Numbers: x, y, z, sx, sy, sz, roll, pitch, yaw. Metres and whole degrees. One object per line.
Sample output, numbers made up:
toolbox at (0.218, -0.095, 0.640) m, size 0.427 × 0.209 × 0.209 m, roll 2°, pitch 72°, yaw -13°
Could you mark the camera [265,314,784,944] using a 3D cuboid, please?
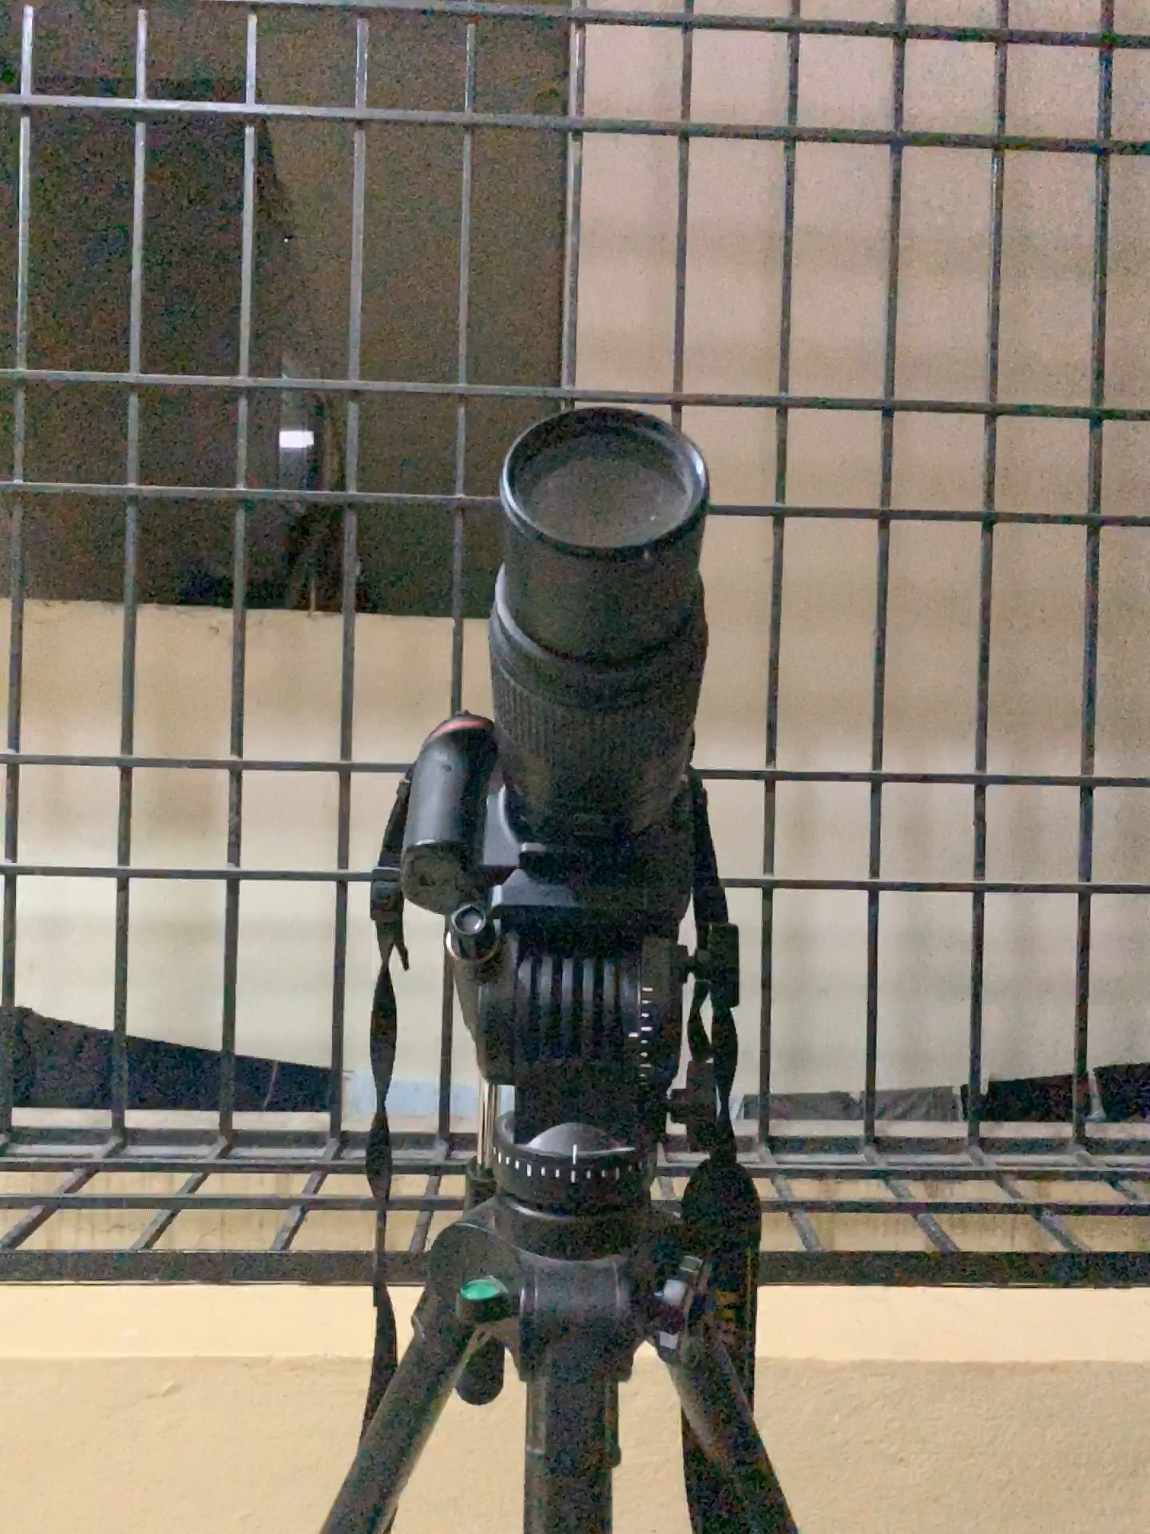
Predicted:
camera at (-0.012, -0.037, 0.420) m, size 0.136 × 0.101 × 0.209 m, roll 2°, pitch -39°, yaw 1°
